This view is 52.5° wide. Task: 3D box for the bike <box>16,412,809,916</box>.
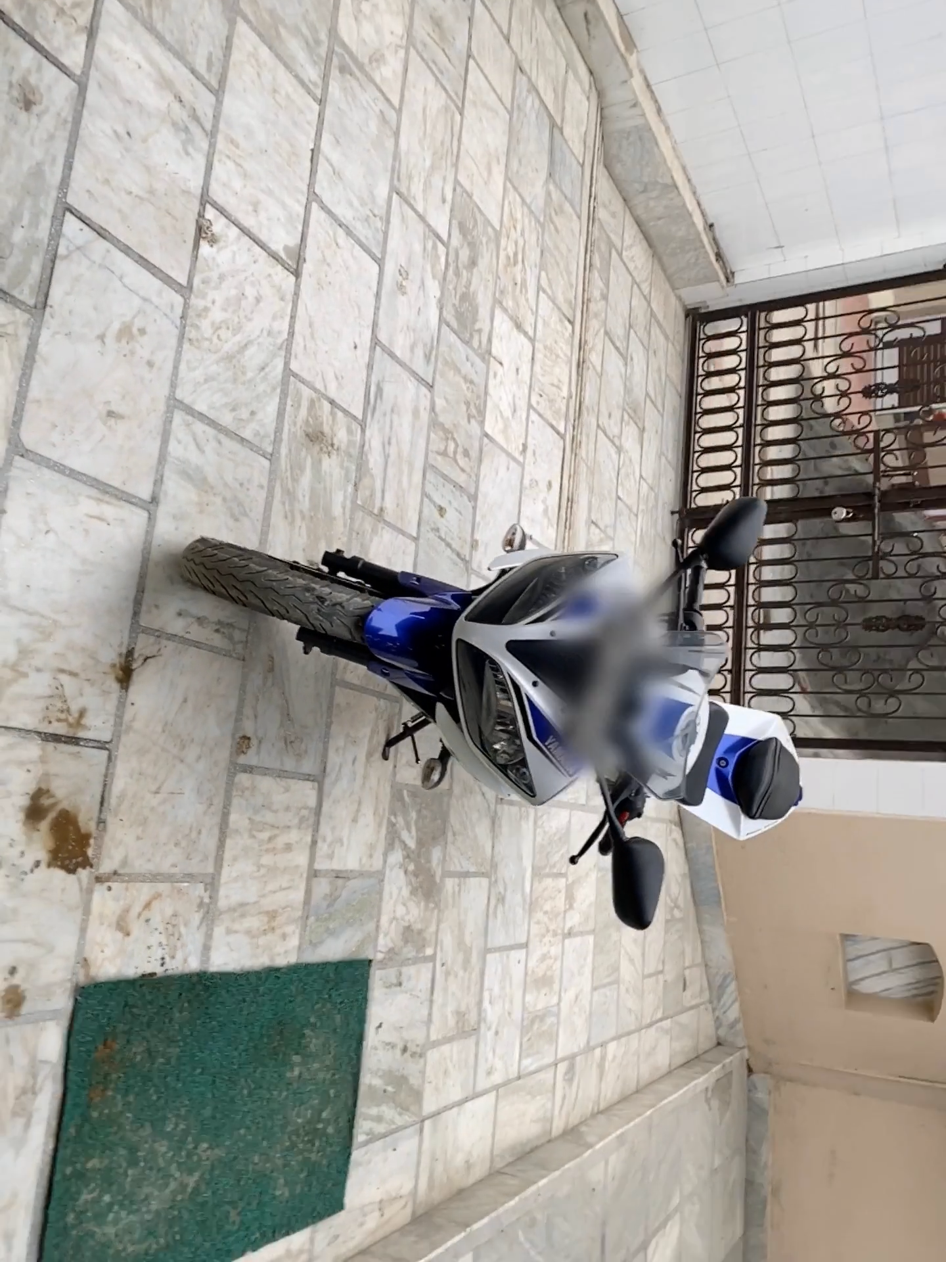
[{"bbox_3d":[0.100,0.259,2.419,1.893,0.902,0.733,26,67,-53],"label":"bike"}]
